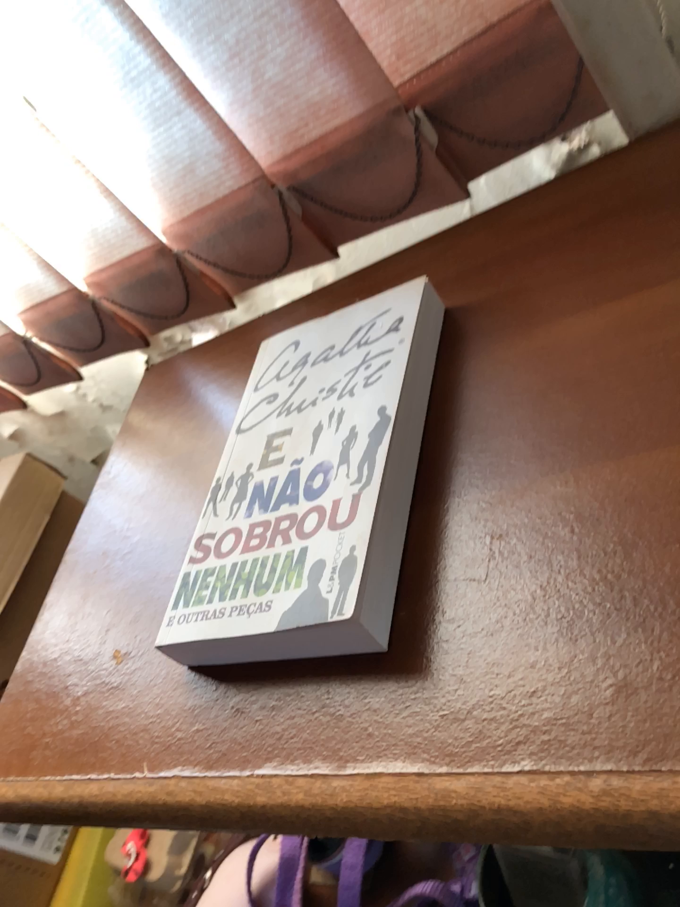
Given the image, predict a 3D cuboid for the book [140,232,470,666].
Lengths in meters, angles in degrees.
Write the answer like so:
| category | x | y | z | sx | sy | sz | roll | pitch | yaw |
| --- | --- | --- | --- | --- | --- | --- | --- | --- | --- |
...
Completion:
| category | x | y | z | sx | sy | sz | roll | pitch | yaw |
| --- | --- | --- | --- | --- | --- | --- | --- | --- | --- |
| book | -0.009 | -0.006 | 0.322 | 0.110 | 0.024 | 0.187 | -16 | 46 | 36 |
